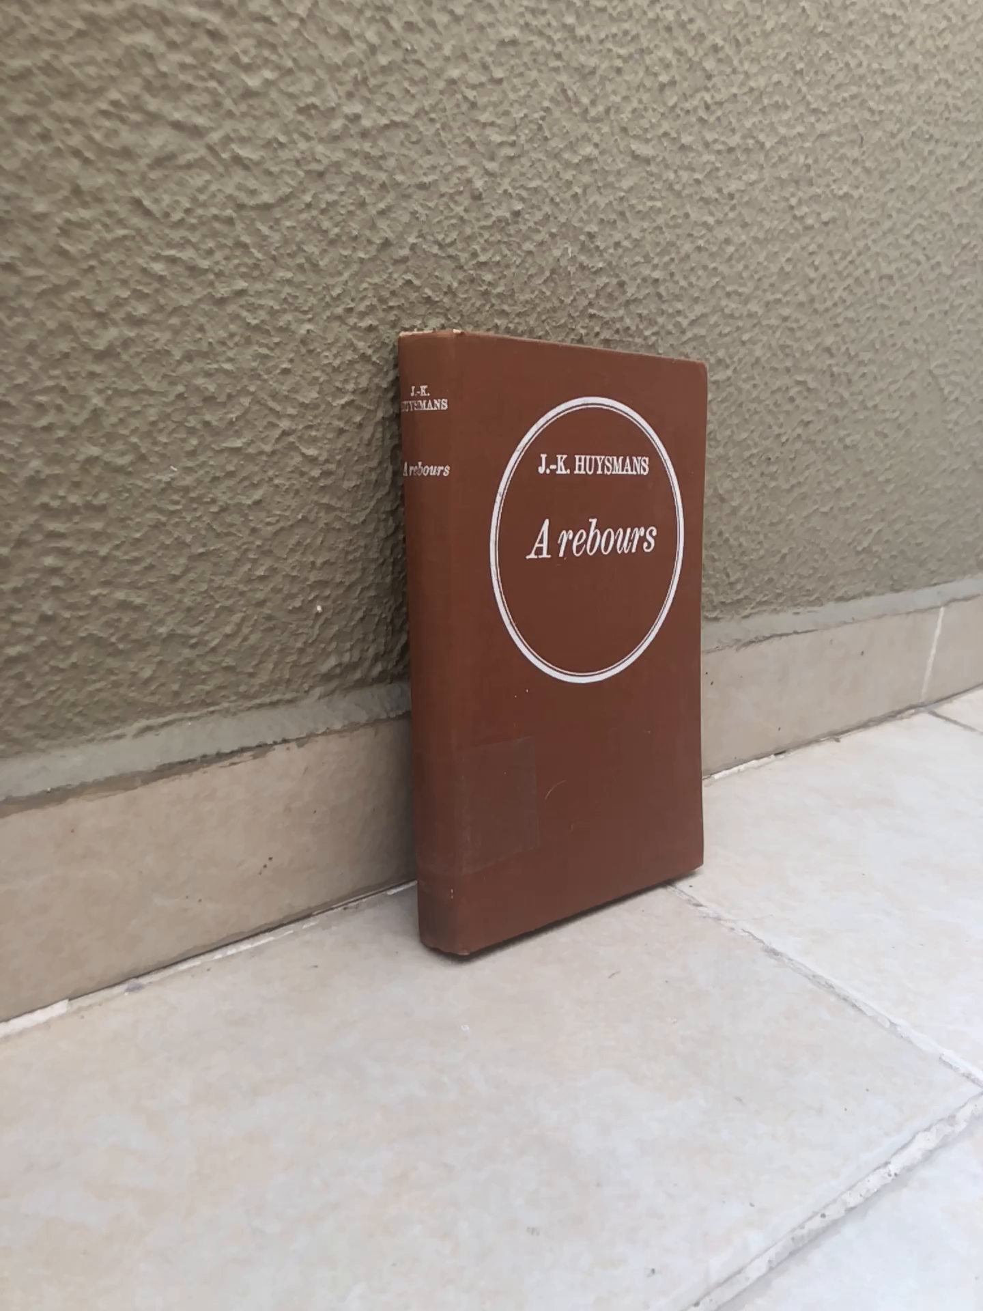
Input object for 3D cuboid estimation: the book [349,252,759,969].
[{"bbox_3d":[0.030,-0.020,0.380,0.150,0.210,0.040,-9,10,-40],"label":"book"}]
